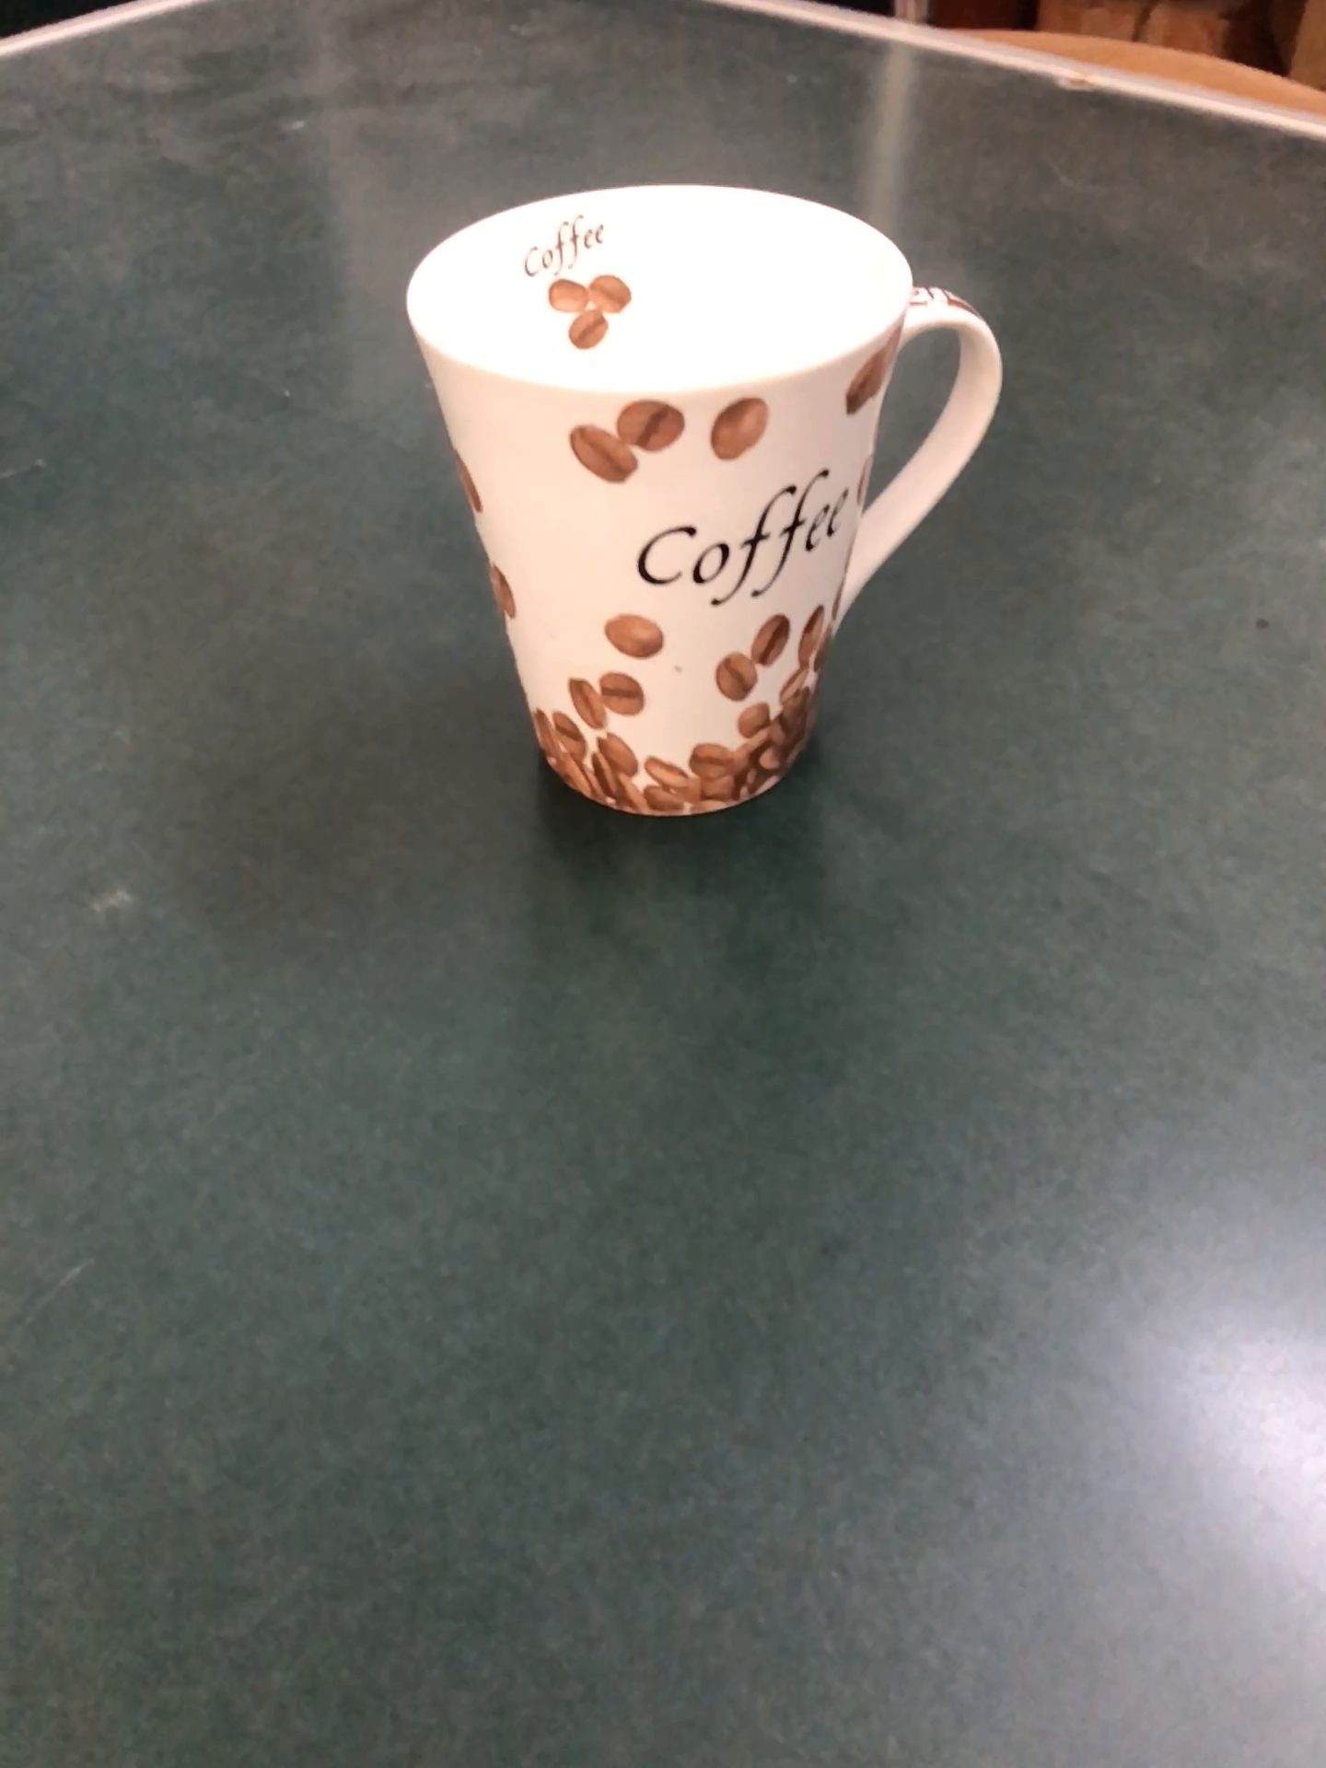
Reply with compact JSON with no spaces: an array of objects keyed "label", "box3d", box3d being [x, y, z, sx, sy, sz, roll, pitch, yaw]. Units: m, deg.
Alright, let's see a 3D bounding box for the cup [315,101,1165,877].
[{"label":"cup","box3d":[0.009,-0.082,0.291,0.120,0.090,0.100,-16,45,-12]}]
